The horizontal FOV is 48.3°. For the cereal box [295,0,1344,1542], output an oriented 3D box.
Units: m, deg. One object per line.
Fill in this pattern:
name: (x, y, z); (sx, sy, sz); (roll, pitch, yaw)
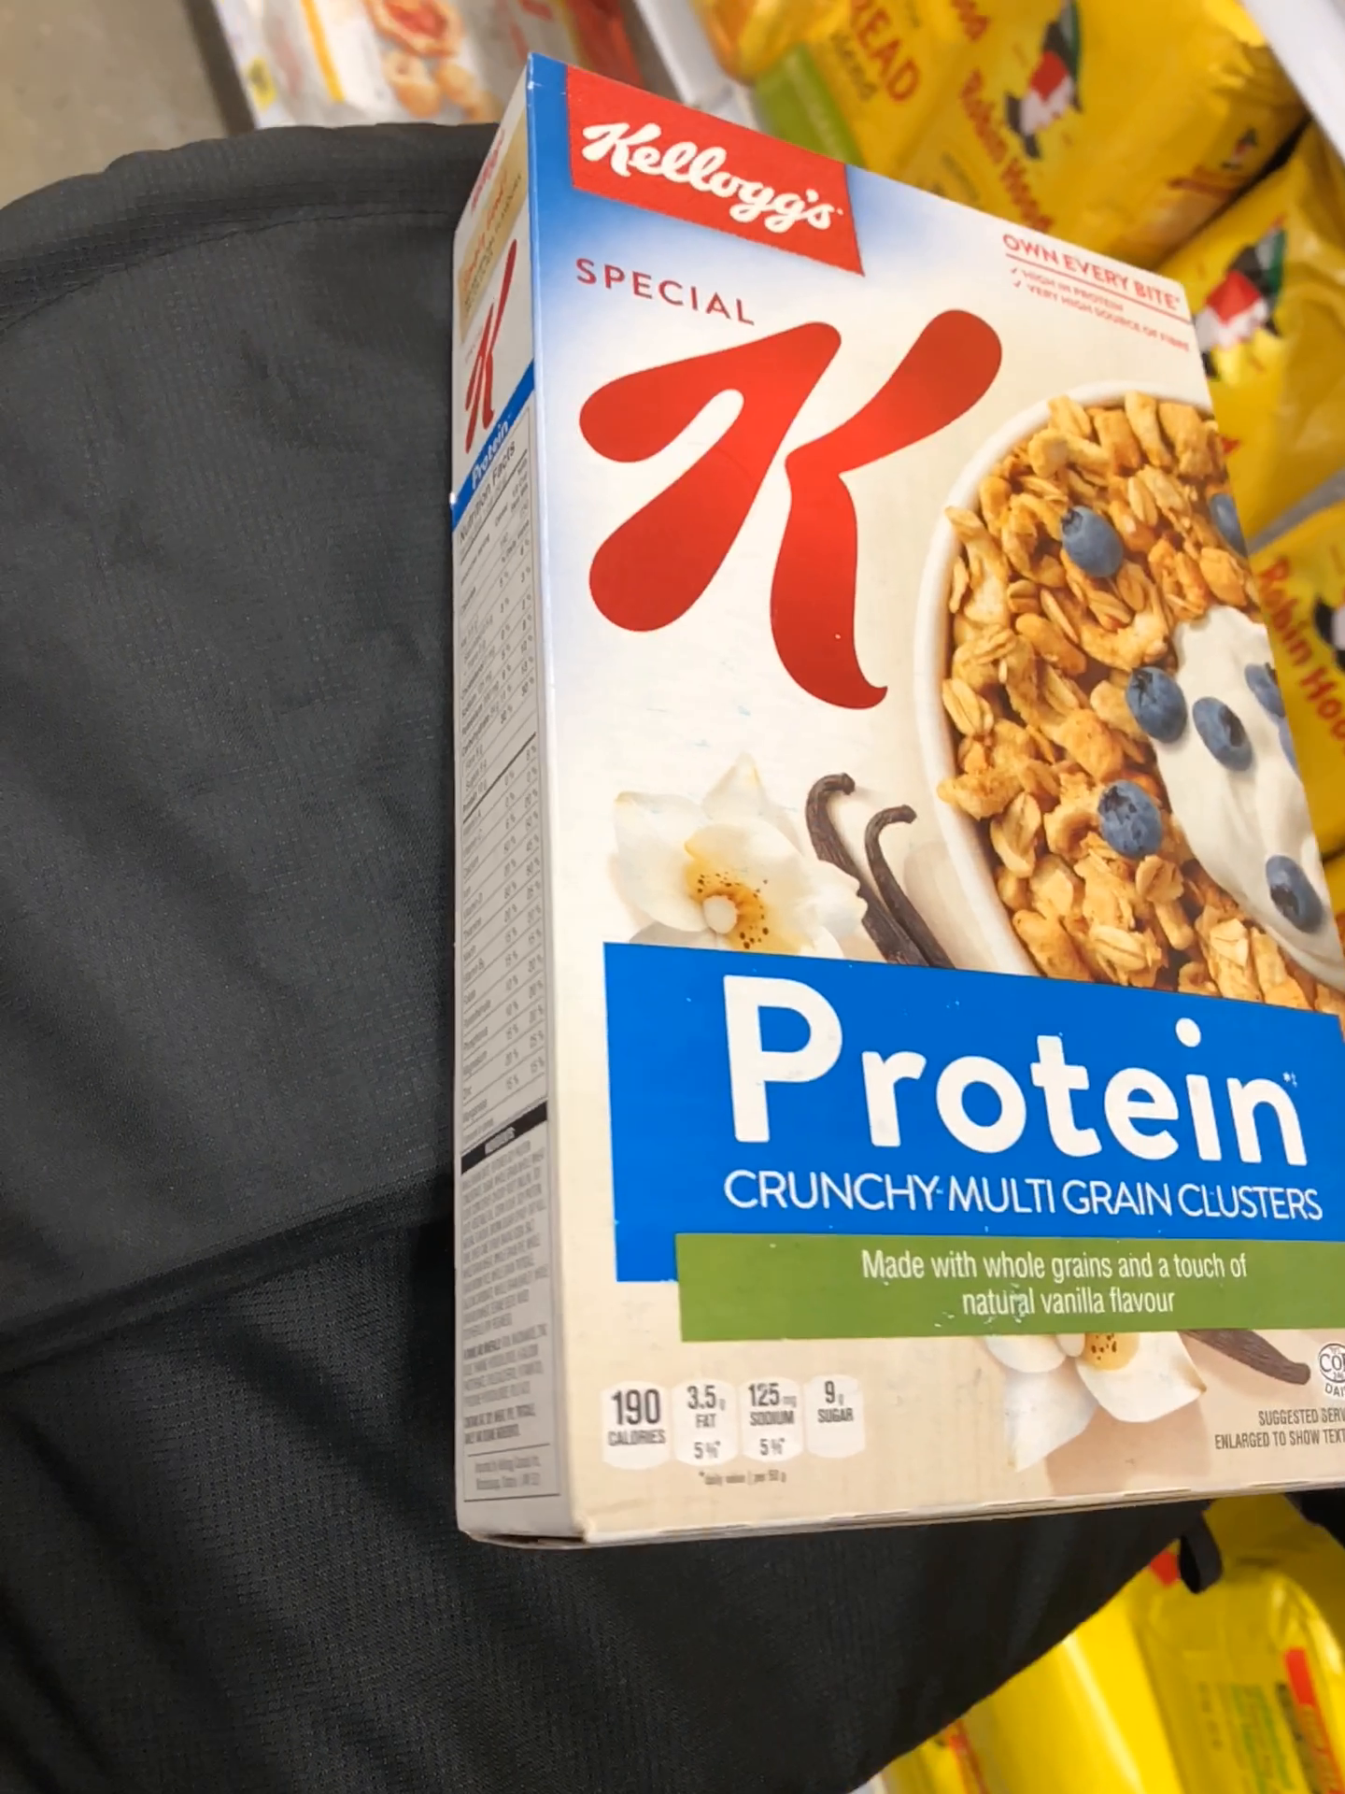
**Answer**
cereal box: (0.035, -0.032, 0.283); (0.191, 0.050, 0.270); (7, 65, -23)
